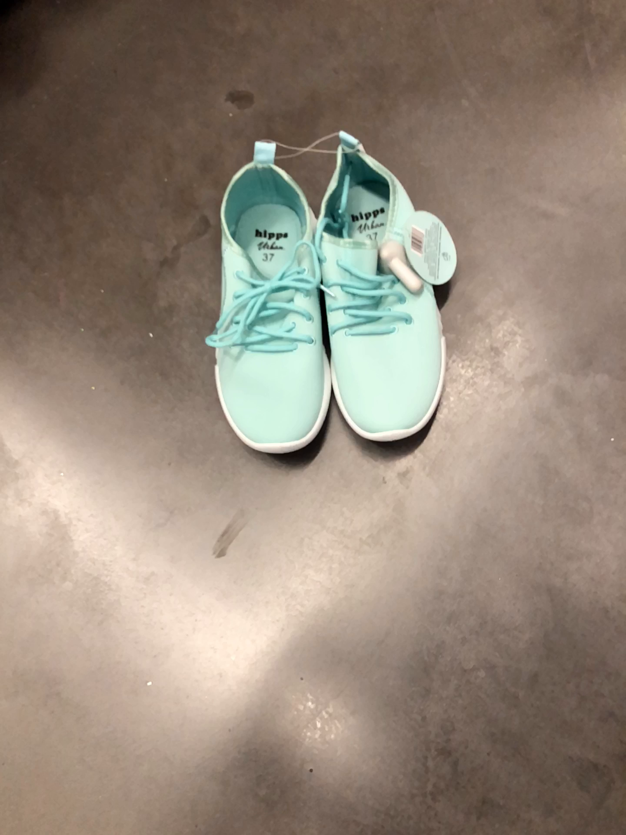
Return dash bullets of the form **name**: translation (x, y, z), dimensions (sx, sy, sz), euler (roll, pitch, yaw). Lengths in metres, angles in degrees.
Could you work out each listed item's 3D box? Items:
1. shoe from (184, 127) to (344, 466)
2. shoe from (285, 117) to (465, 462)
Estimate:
- **shoe**: translation (-0.037, -0.090, 0.534), dimensions (0.100, 0.100, 0.230), euler (-5, 72, 4)
- **shoe**: translation (0.043, -0.094, 0.529), dimensions (0.100, 0.100, 0.230), euler (-6, 72, 4)
